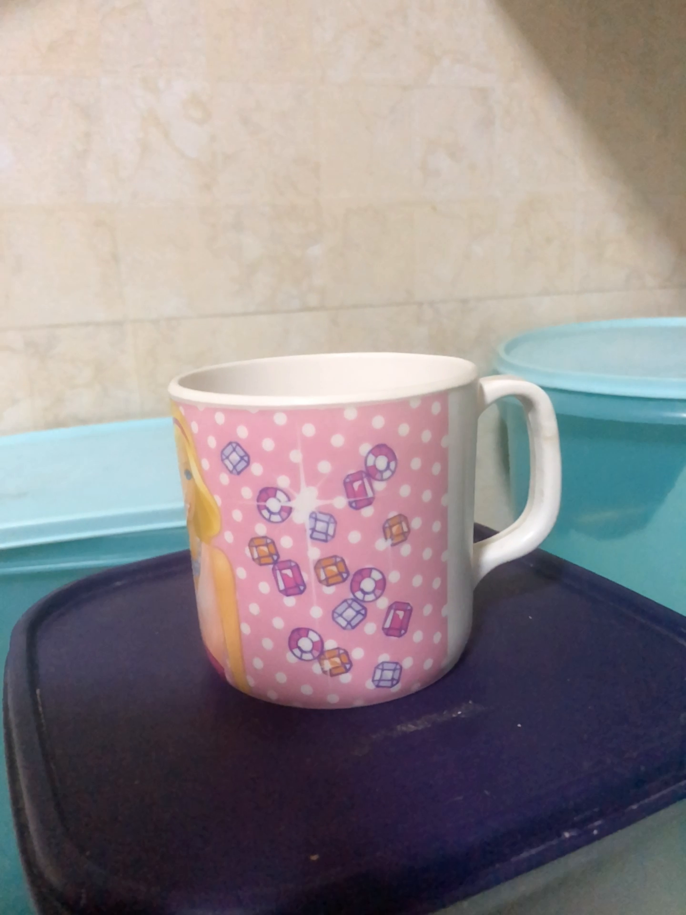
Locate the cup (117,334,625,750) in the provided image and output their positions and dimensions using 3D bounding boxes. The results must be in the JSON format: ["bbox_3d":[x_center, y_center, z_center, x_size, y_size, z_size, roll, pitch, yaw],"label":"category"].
[{"bbox_3d":[0.005,0.011,0.225,0.120,0.080,0.080,-8,15,-22],"label":"cup"}]
